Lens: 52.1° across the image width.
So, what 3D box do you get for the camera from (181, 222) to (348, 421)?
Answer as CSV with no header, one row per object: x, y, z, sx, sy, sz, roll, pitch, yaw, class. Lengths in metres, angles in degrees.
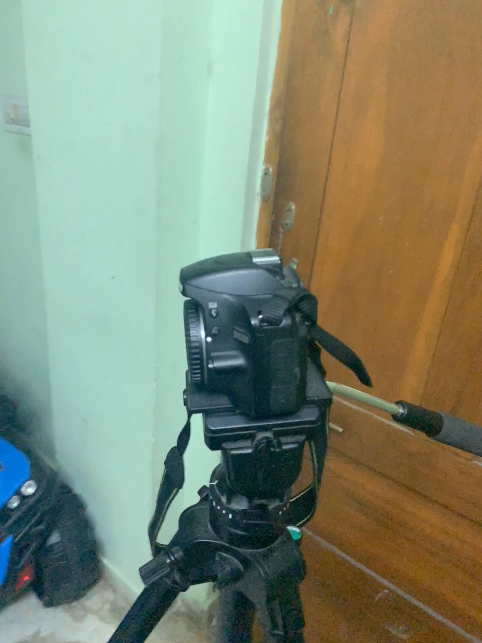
0.006,-0.006,0.343,0.086,0.096,0.118,1,24,-10,camera
